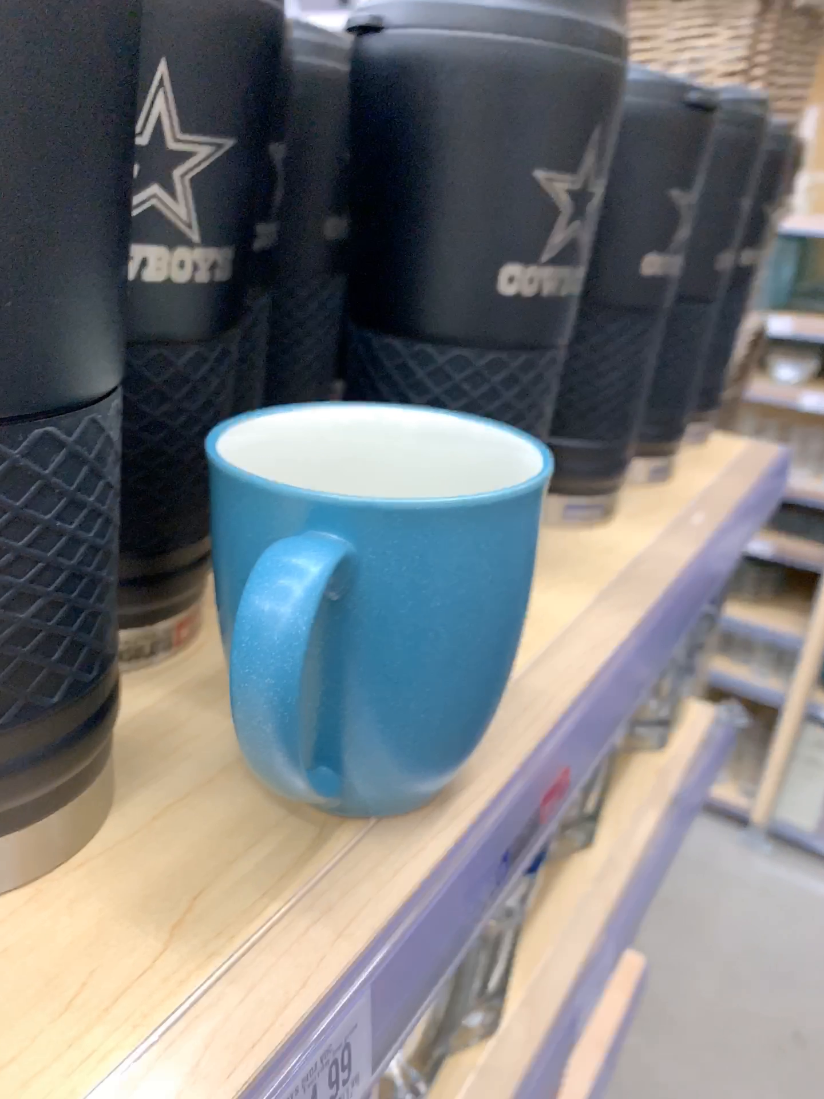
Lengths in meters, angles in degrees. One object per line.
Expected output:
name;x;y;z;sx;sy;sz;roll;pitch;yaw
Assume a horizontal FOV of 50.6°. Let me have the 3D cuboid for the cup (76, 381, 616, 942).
cup;-0.009;0.014;0.230;0.089;0.084;0.116;14;24;19
